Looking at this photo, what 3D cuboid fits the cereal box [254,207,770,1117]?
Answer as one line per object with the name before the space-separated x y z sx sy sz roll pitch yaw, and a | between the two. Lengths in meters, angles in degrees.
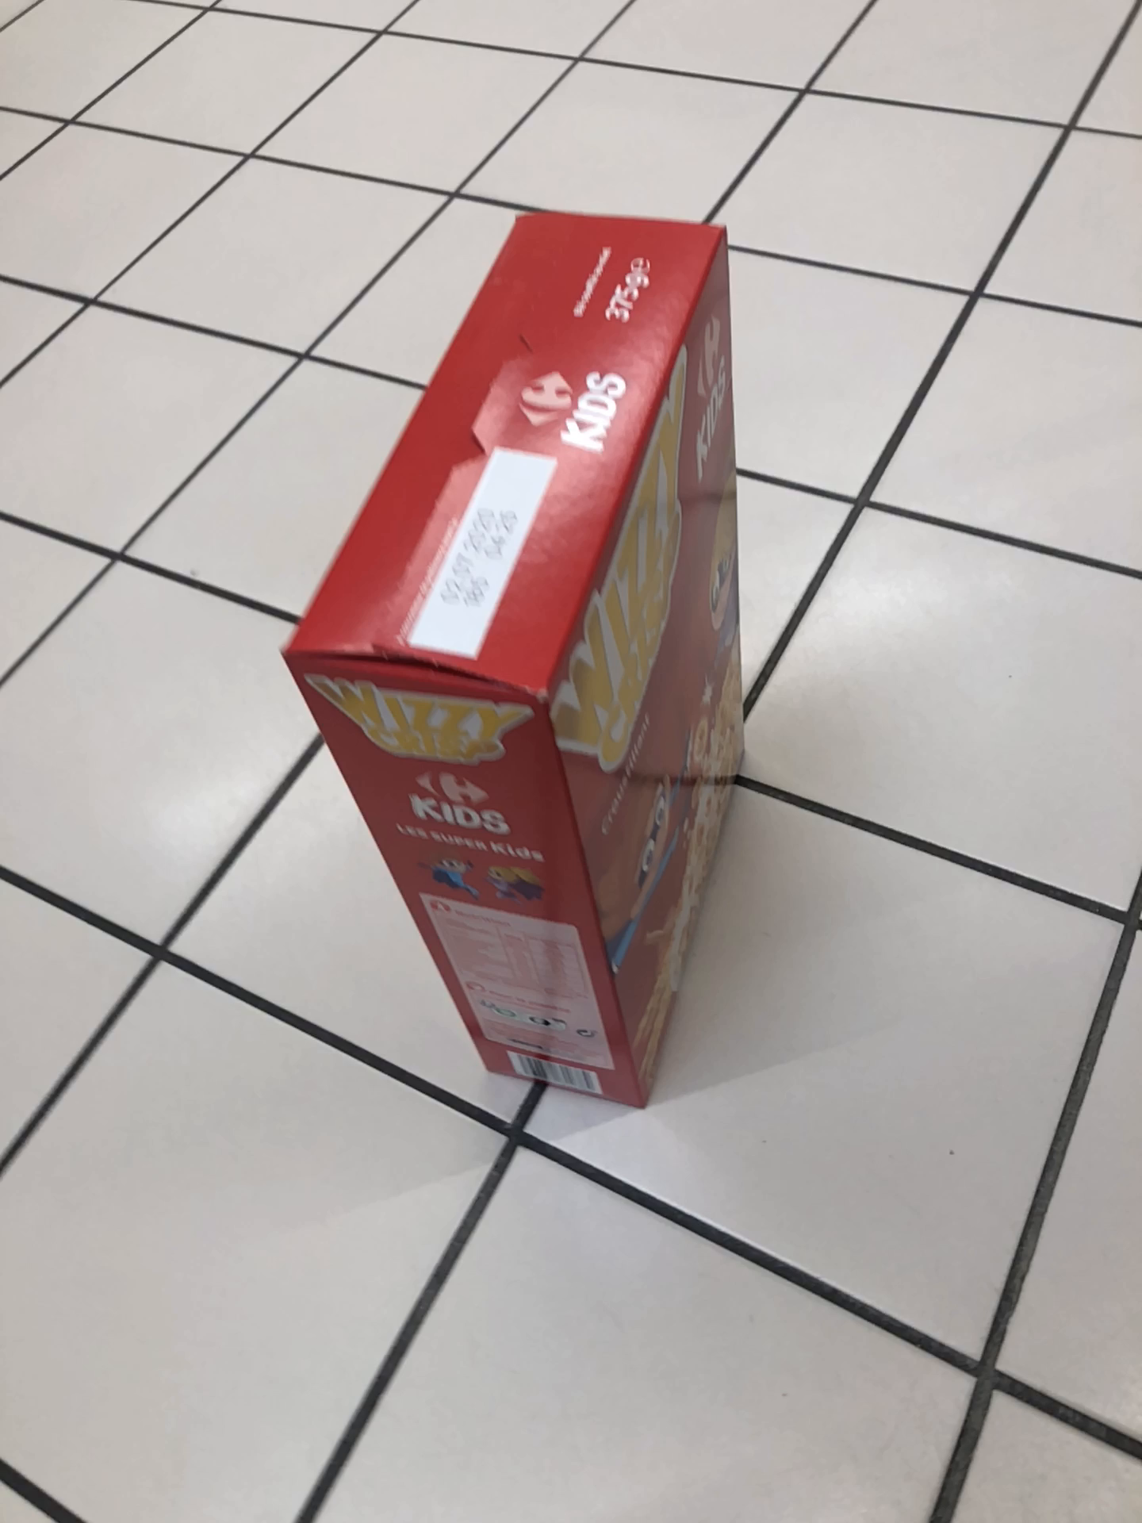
cereal box | 0.009 -0.019 0.463 0.090 0.279 0.191 9 57 15
